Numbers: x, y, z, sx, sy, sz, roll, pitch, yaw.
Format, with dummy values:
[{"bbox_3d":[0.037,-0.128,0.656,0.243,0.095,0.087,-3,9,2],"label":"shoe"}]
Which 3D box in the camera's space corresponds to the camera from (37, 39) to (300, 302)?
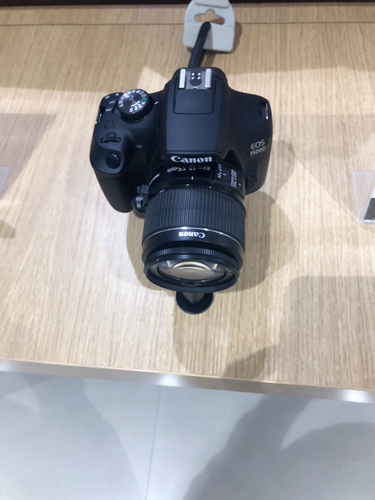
[{"bbox_3d":[-0.001,-0.052,0.276,0.130,0.090,0.141,3,63,7],"label":"camera"}]
